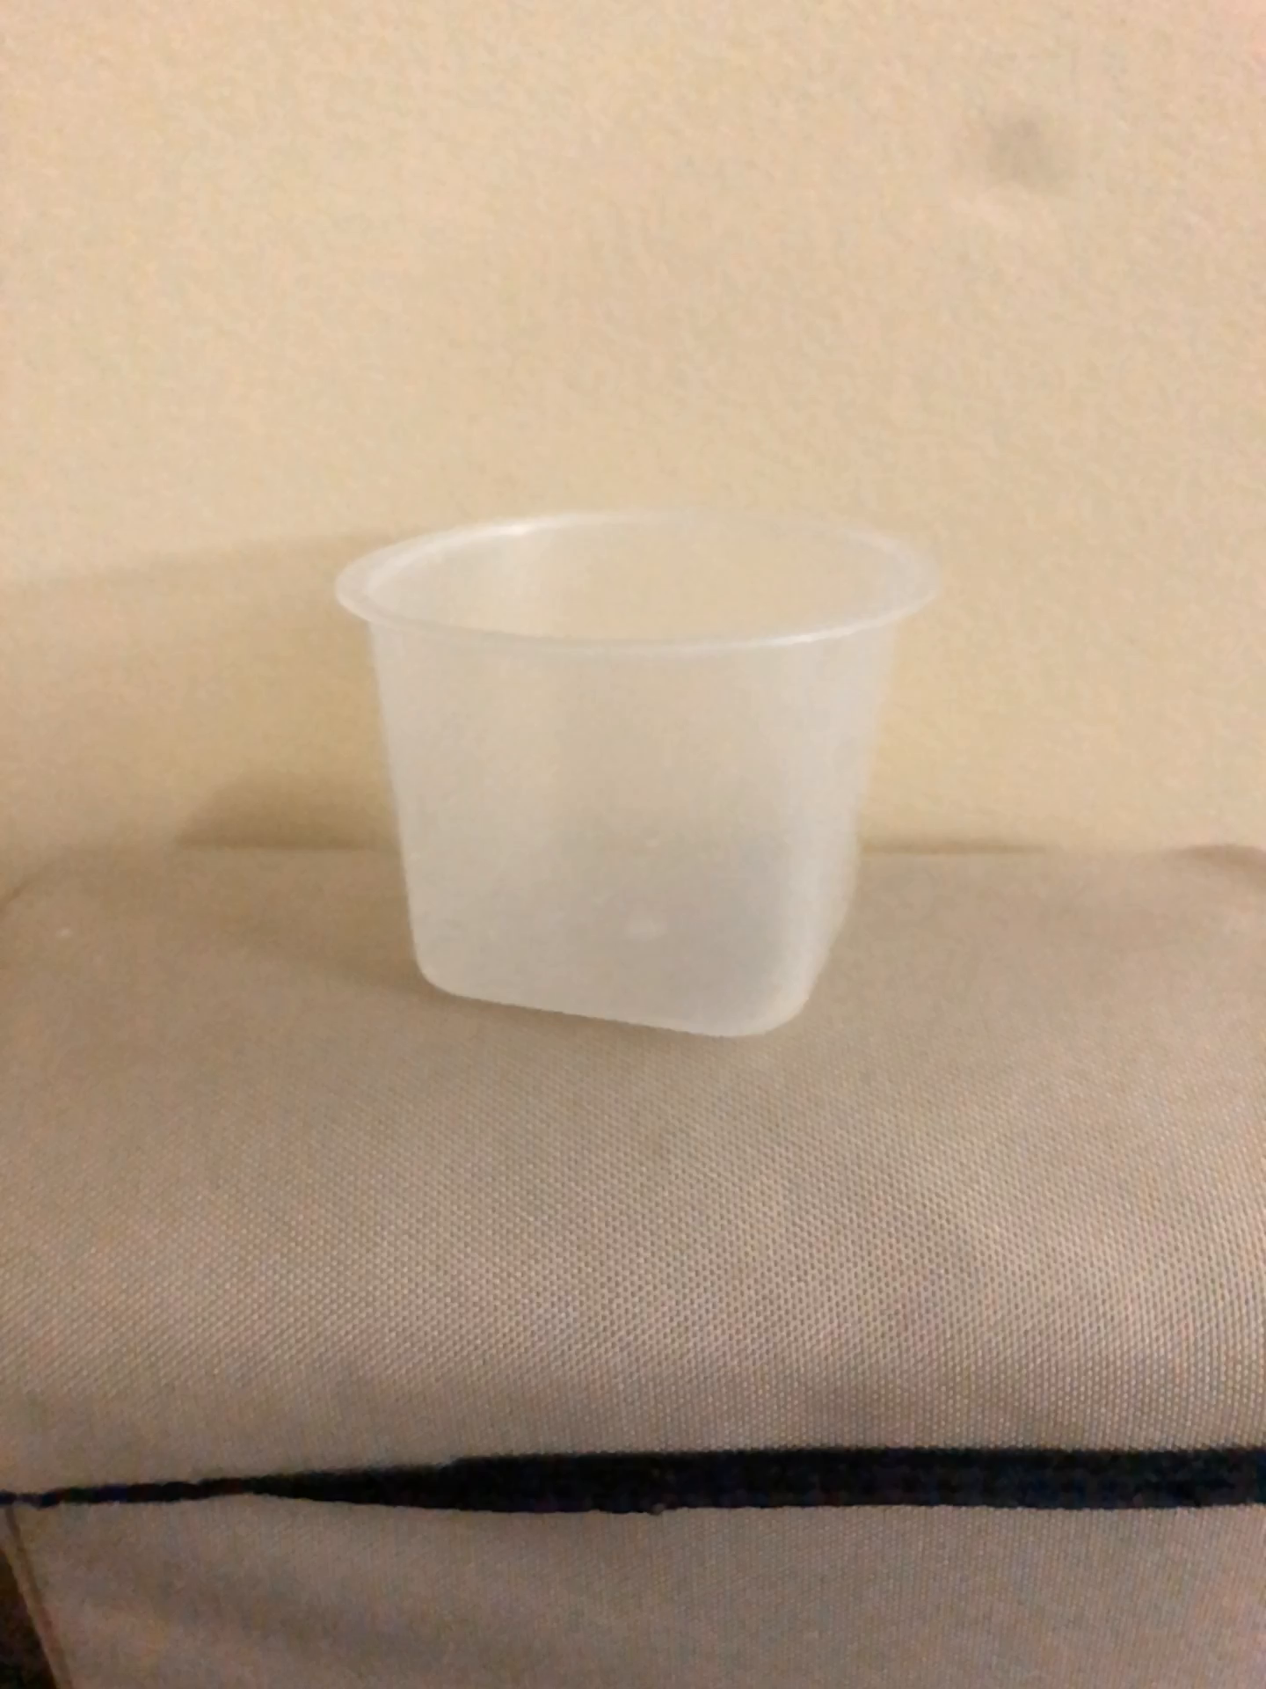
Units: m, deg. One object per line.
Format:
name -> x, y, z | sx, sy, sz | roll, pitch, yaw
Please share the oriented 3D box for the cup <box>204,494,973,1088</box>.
cup -> 0.001, -0.014, 0.195 | 0.080, 0.046, 0.076 | -1, 27, 1
